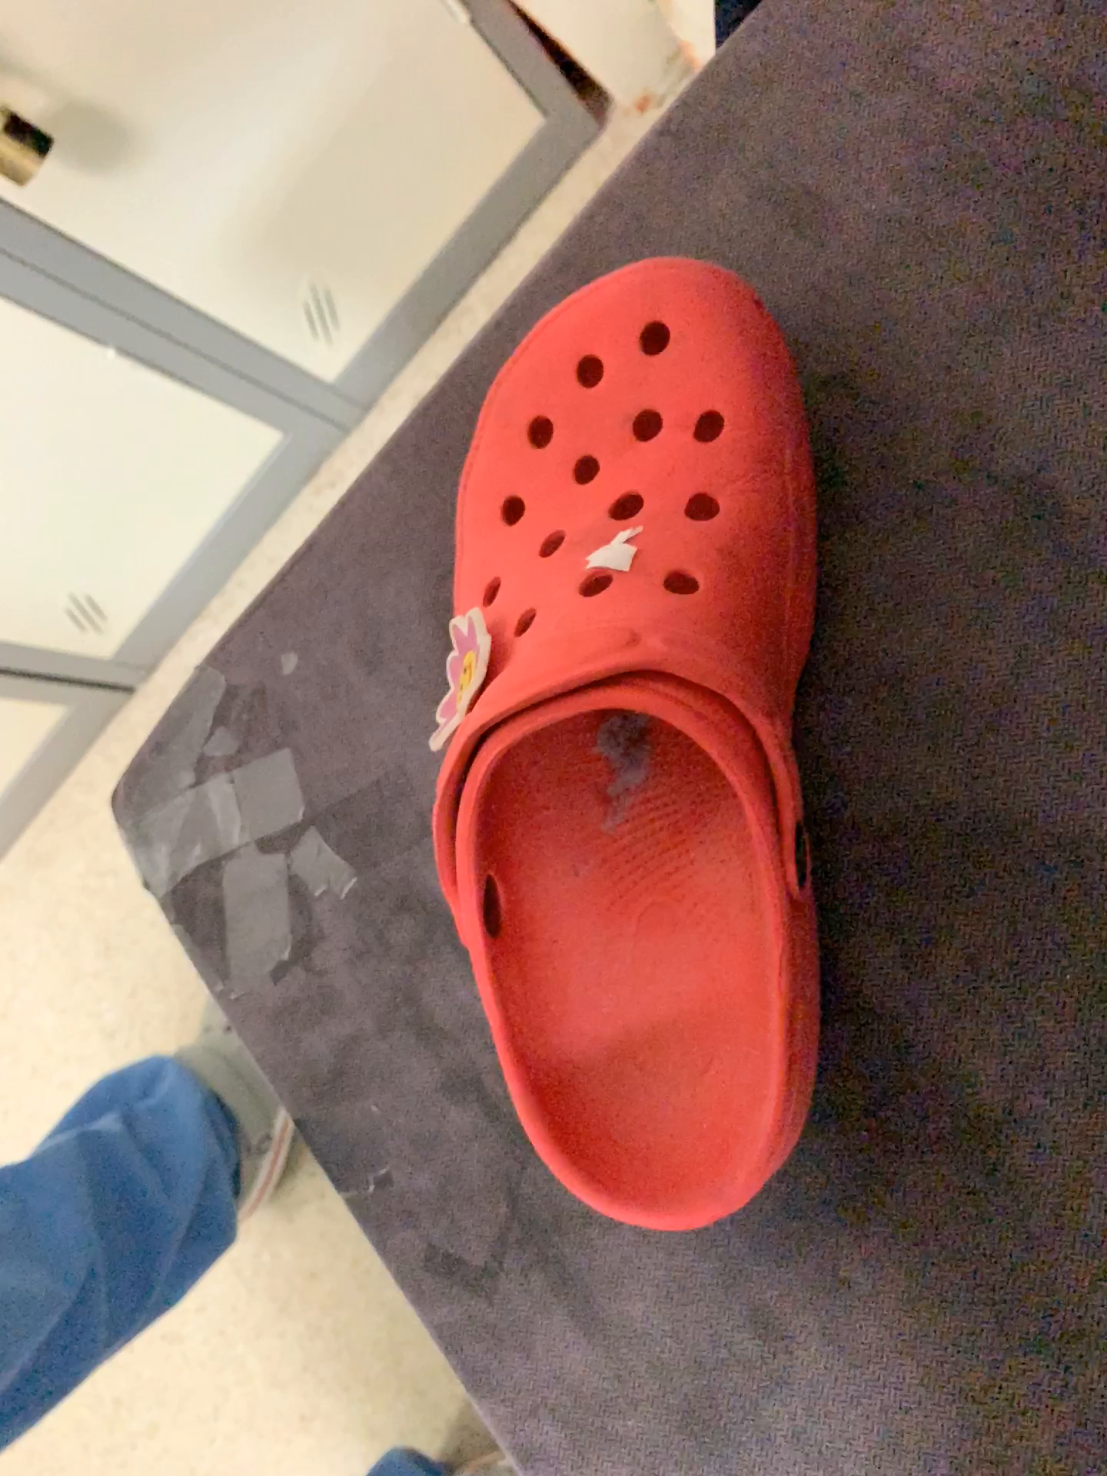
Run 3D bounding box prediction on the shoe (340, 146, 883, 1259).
[{"bbox_3d":[0.014,-0.005,0.269,0.092,0.081,0.208,-6,83,26],"label":"shoe"}]
